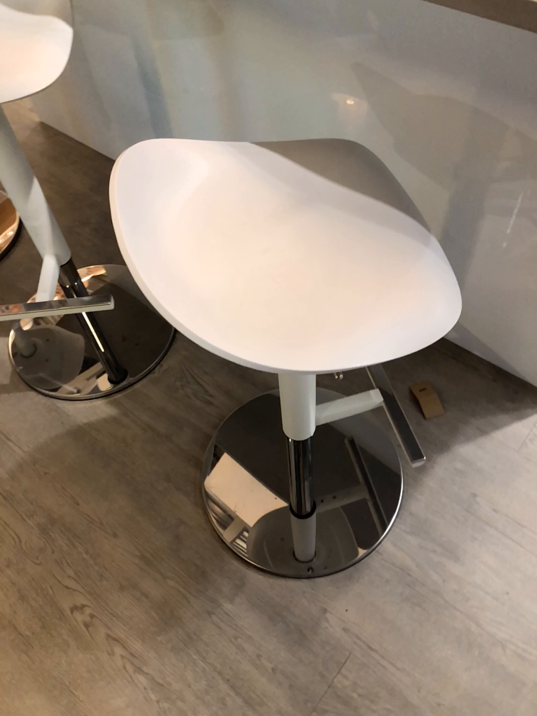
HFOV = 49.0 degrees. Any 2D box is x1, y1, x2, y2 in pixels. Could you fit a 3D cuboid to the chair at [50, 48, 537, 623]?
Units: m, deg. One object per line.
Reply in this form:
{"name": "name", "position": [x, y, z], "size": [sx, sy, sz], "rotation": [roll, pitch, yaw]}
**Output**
{"name": "chair", "position": [0.038, 0.034, 0.907], "size": [0.440, 0.716, 0.442], "rotation": [-17, 56, -8]}
